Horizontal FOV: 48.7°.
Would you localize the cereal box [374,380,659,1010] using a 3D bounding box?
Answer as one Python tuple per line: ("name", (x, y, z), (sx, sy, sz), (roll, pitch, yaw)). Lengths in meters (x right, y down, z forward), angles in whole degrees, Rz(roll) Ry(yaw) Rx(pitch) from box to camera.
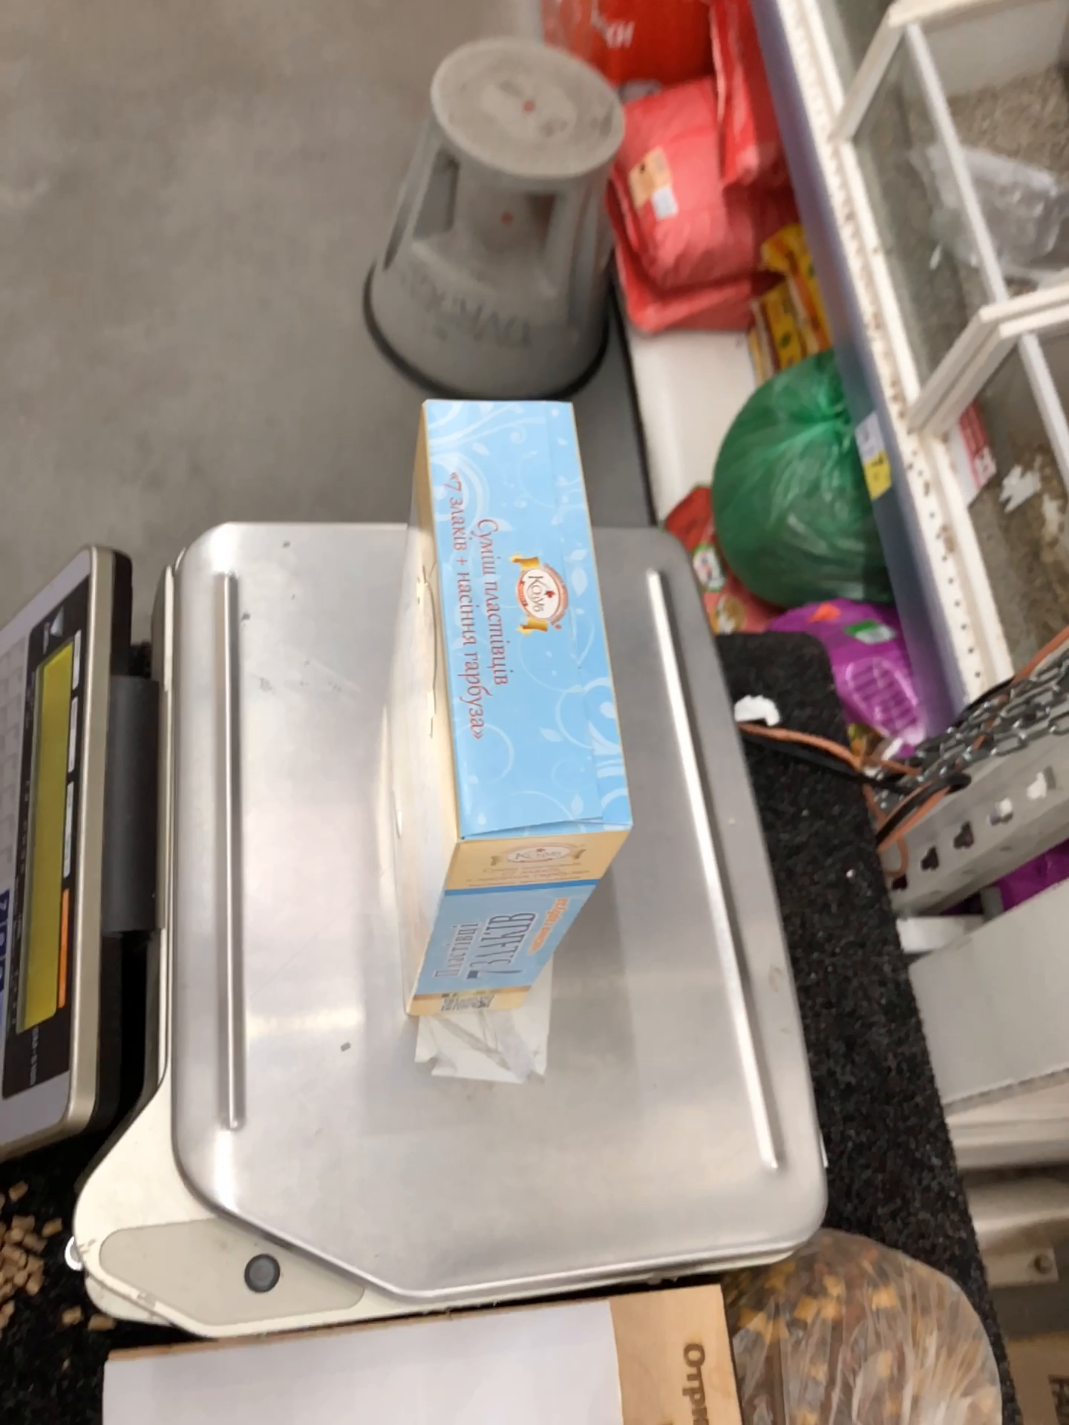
("cereal box", (-0.023, 0.010, 0.466), (0.060, 0.229, 0.161), (-3, 65, -12))
